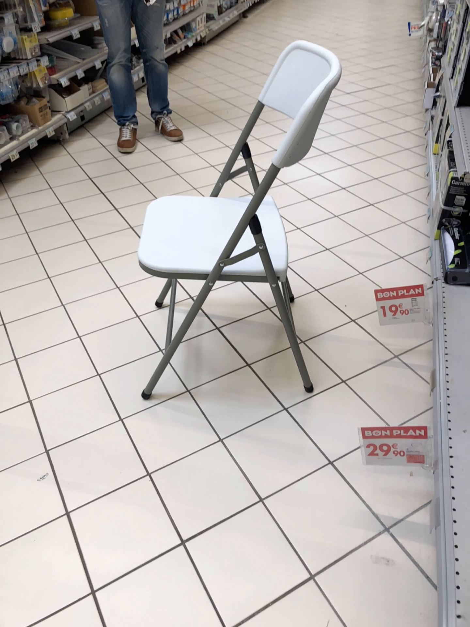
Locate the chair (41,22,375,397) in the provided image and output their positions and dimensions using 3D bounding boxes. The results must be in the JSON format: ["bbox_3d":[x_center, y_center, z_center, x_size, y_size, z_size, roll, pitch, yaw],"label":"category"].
[{"bbox_3d":[-0.037,-0.259,1.305,0.560,0.745,0.543,-3,38,0],"label":"chair"}]
